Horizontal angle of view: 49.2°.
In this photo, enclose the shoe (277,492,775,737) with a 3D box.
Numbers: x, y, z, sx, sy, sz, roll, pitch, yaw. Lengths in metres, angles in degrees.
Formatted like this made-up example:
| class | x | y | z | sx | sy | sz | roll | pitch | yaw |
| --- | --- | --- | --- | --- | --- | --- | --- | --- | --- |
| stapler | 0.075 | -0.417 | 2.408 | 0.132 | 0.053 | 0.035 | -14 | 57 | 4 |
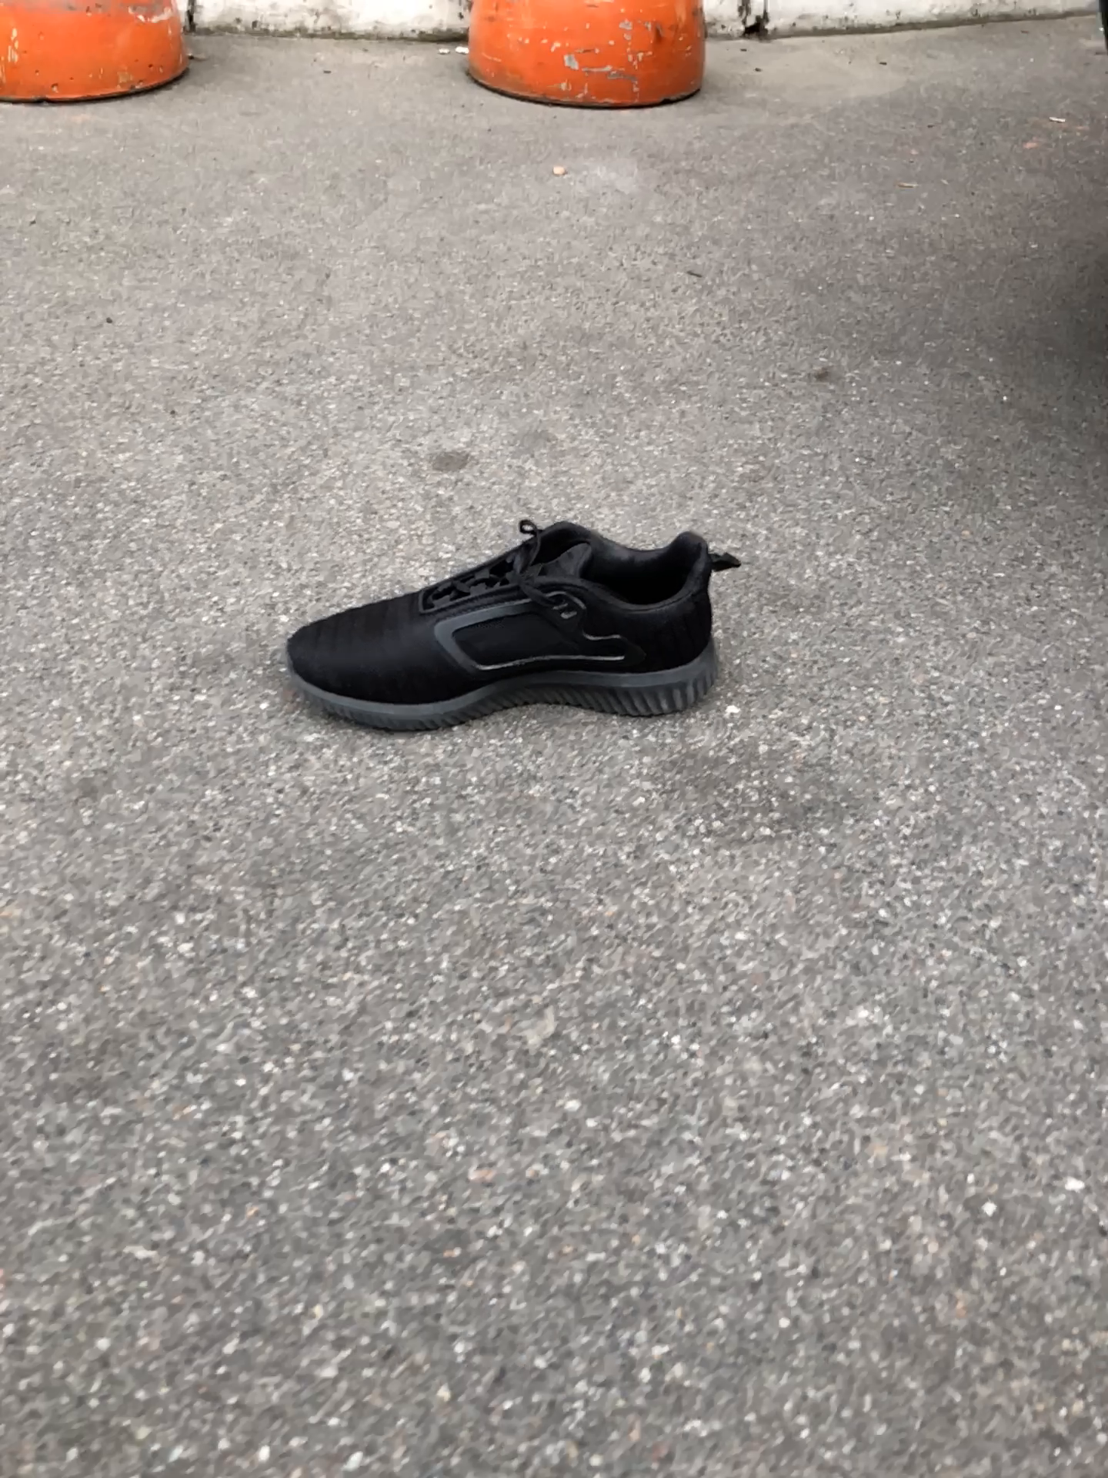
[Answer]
| class | x | y | z | sx | sy | sz | roll | pitch | yaw |
| --- | --- | --- | --- | --- | --- | --- | --- | --- | --- |
| shoe | -0.020 | -0.077 | 0.751 | 0.280 | 0.109 | 0.101 | -1 | 42 | -6 |
